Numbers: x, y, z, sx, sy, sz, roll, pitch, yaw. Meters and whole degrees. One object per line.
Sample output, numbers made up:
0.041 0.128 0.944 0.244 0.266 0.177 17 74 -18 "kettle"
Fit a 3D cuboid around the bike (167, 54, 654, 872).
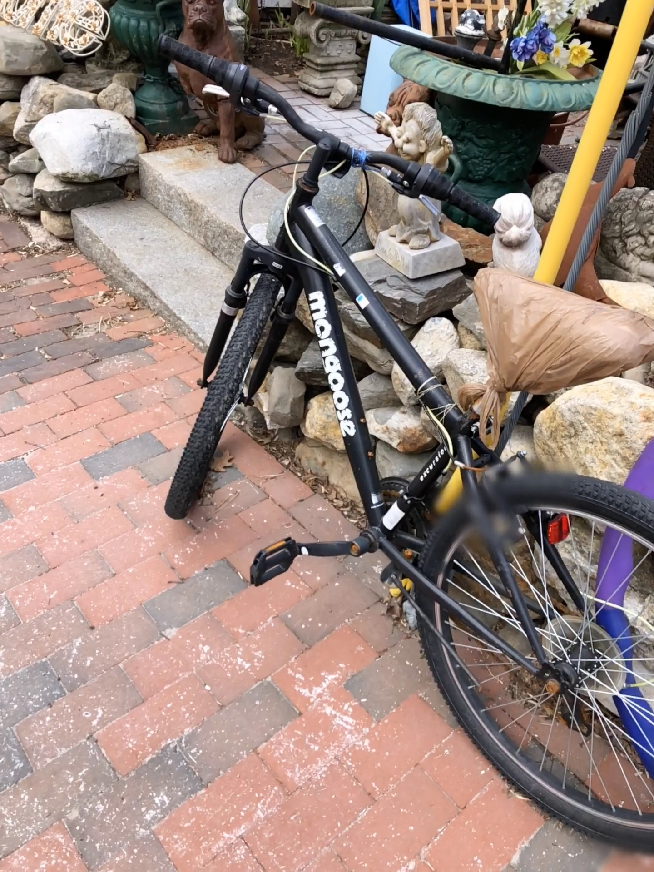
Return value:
0.263 -0.034 1.316 0.634 0.873 1.413 -19 47 -30 "bike"
